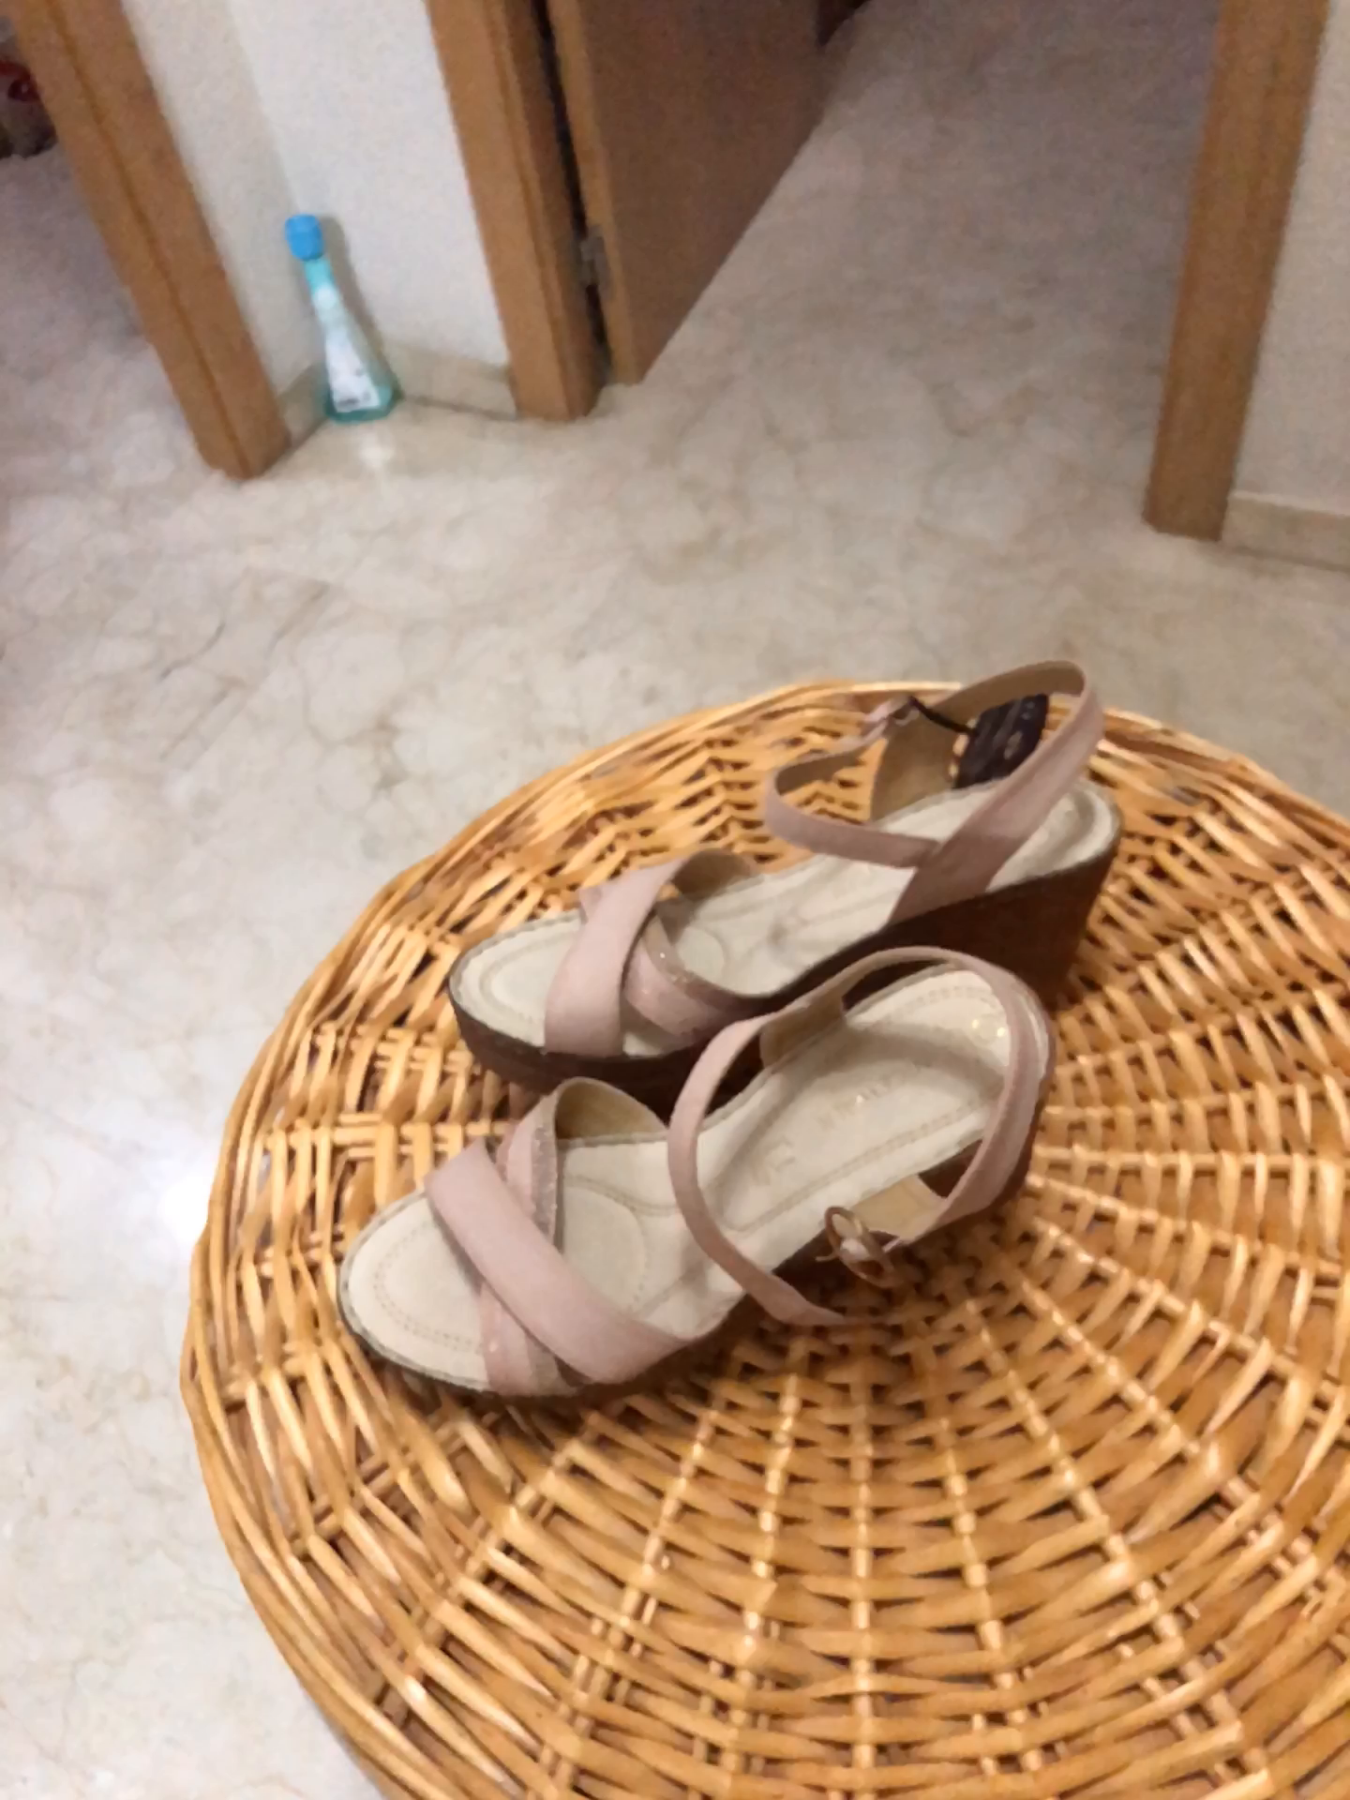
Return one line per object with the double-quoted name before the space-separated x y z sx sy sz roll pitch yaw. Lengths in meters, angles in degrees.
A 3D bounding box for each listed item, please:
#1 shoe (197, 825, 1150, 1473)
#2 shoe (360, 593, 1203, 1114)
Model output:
"shoe" -0.003 0.077 0.461 0.251 0.100 0.112 -12 51 -1
"shoe" 0.033 -0.014 0.530 0.260 0.104 0.100 -9 51 2
